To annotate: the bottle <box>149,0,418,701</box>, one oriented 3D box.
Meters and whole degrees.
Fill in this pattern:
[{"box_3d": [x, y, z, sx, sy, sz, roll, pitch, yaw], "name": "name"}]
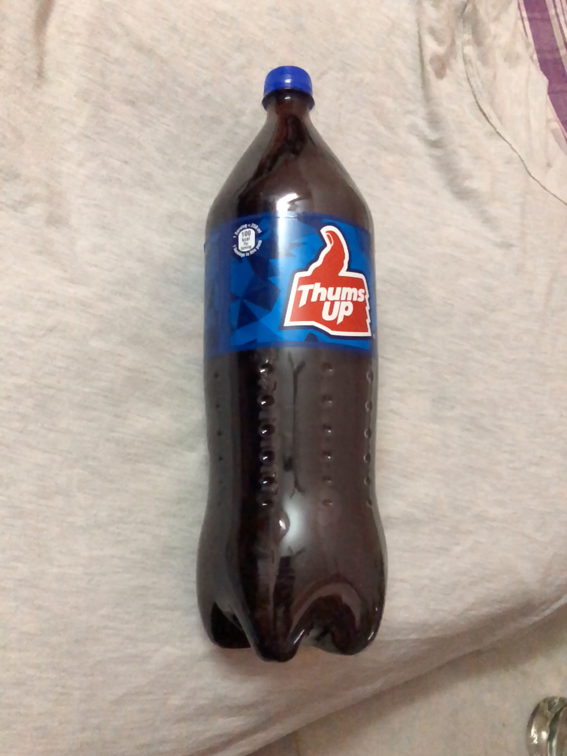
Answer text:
[{"box_3d": [-0.003, -0.026, 0.297, 0.100, 0.060, 0.300, 4, 79, -25], "name": "bottle"}]
